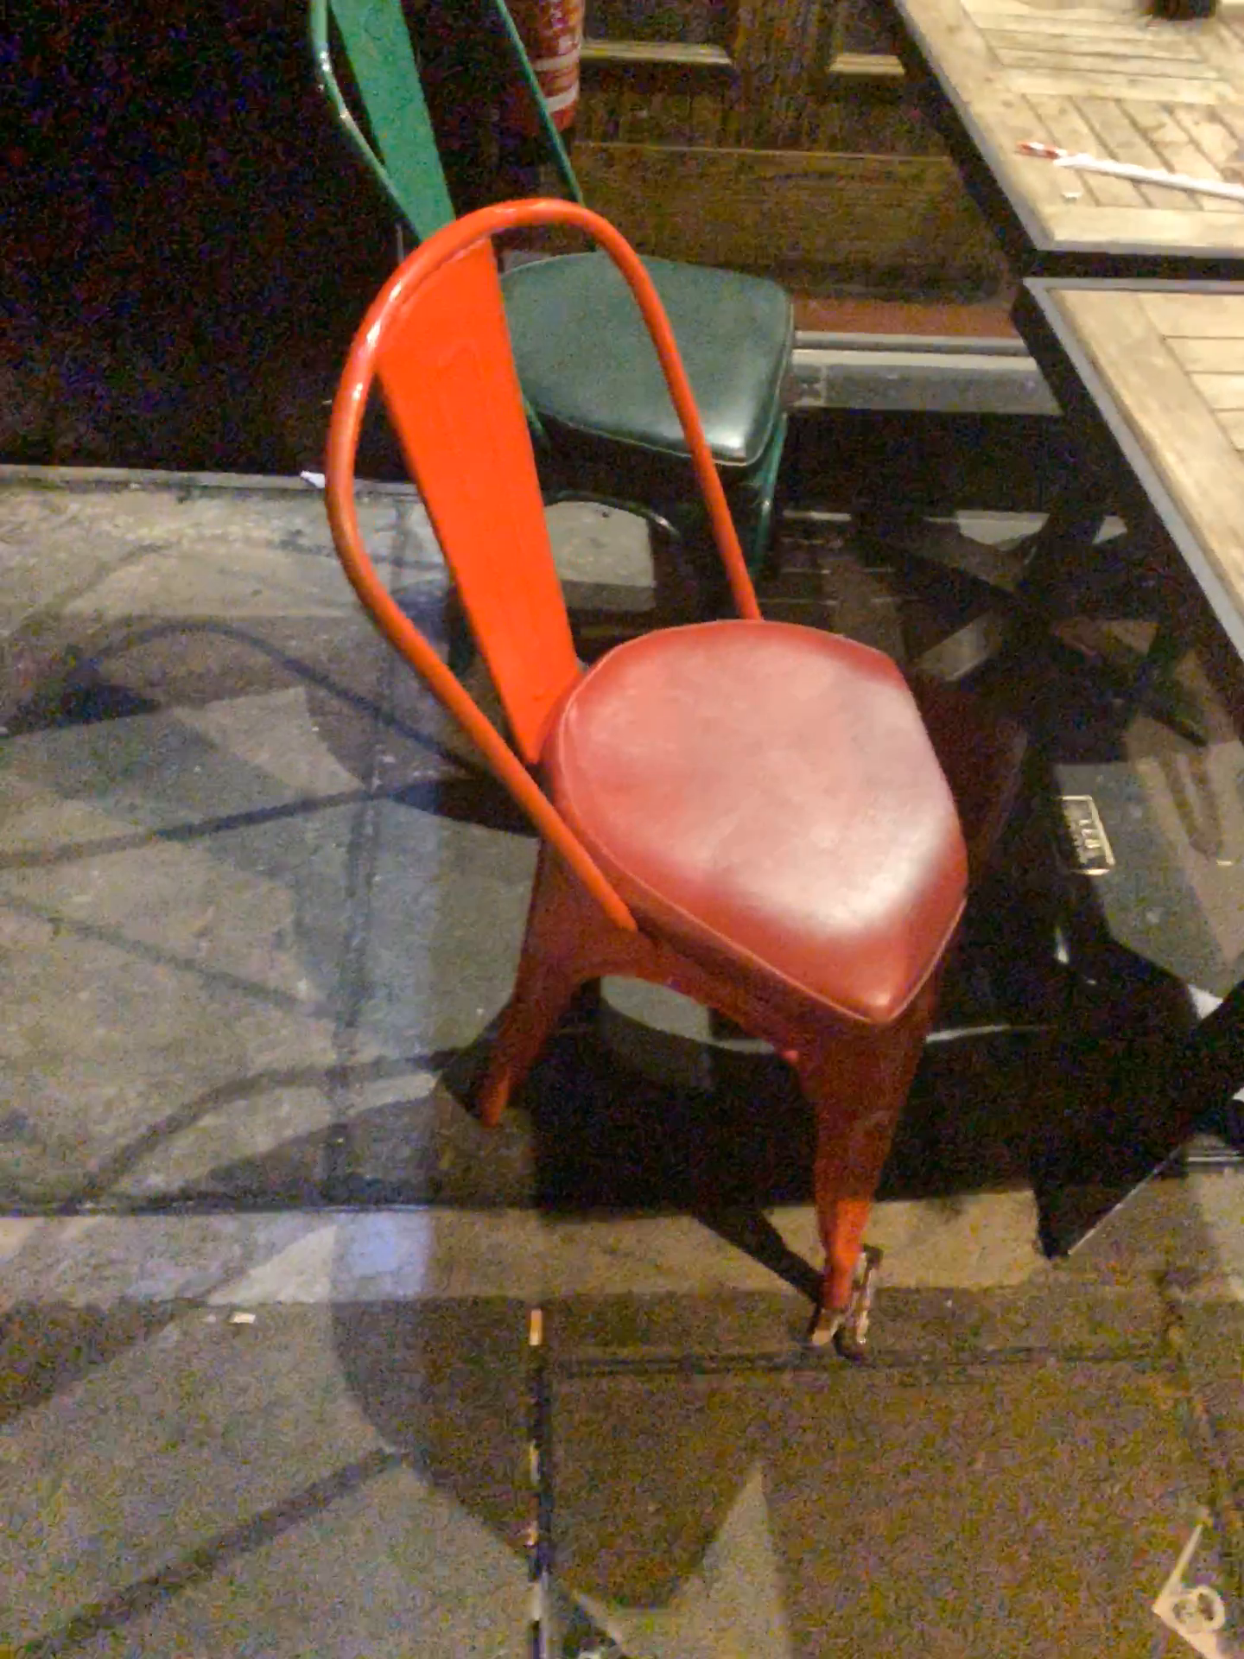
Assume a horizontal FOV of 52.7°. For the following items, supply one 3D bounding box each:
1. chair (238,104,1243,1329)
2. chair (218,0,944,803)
[{"bbox_3d":[0.092,-0.036,1.044,0.511,0.812,0.433,21,51,12],"label":"chair"},{"bbox_3d":[-0.002,-0.505,1.412,0.510,0.833,0.434,14,55,12],"label":"chair"}]
